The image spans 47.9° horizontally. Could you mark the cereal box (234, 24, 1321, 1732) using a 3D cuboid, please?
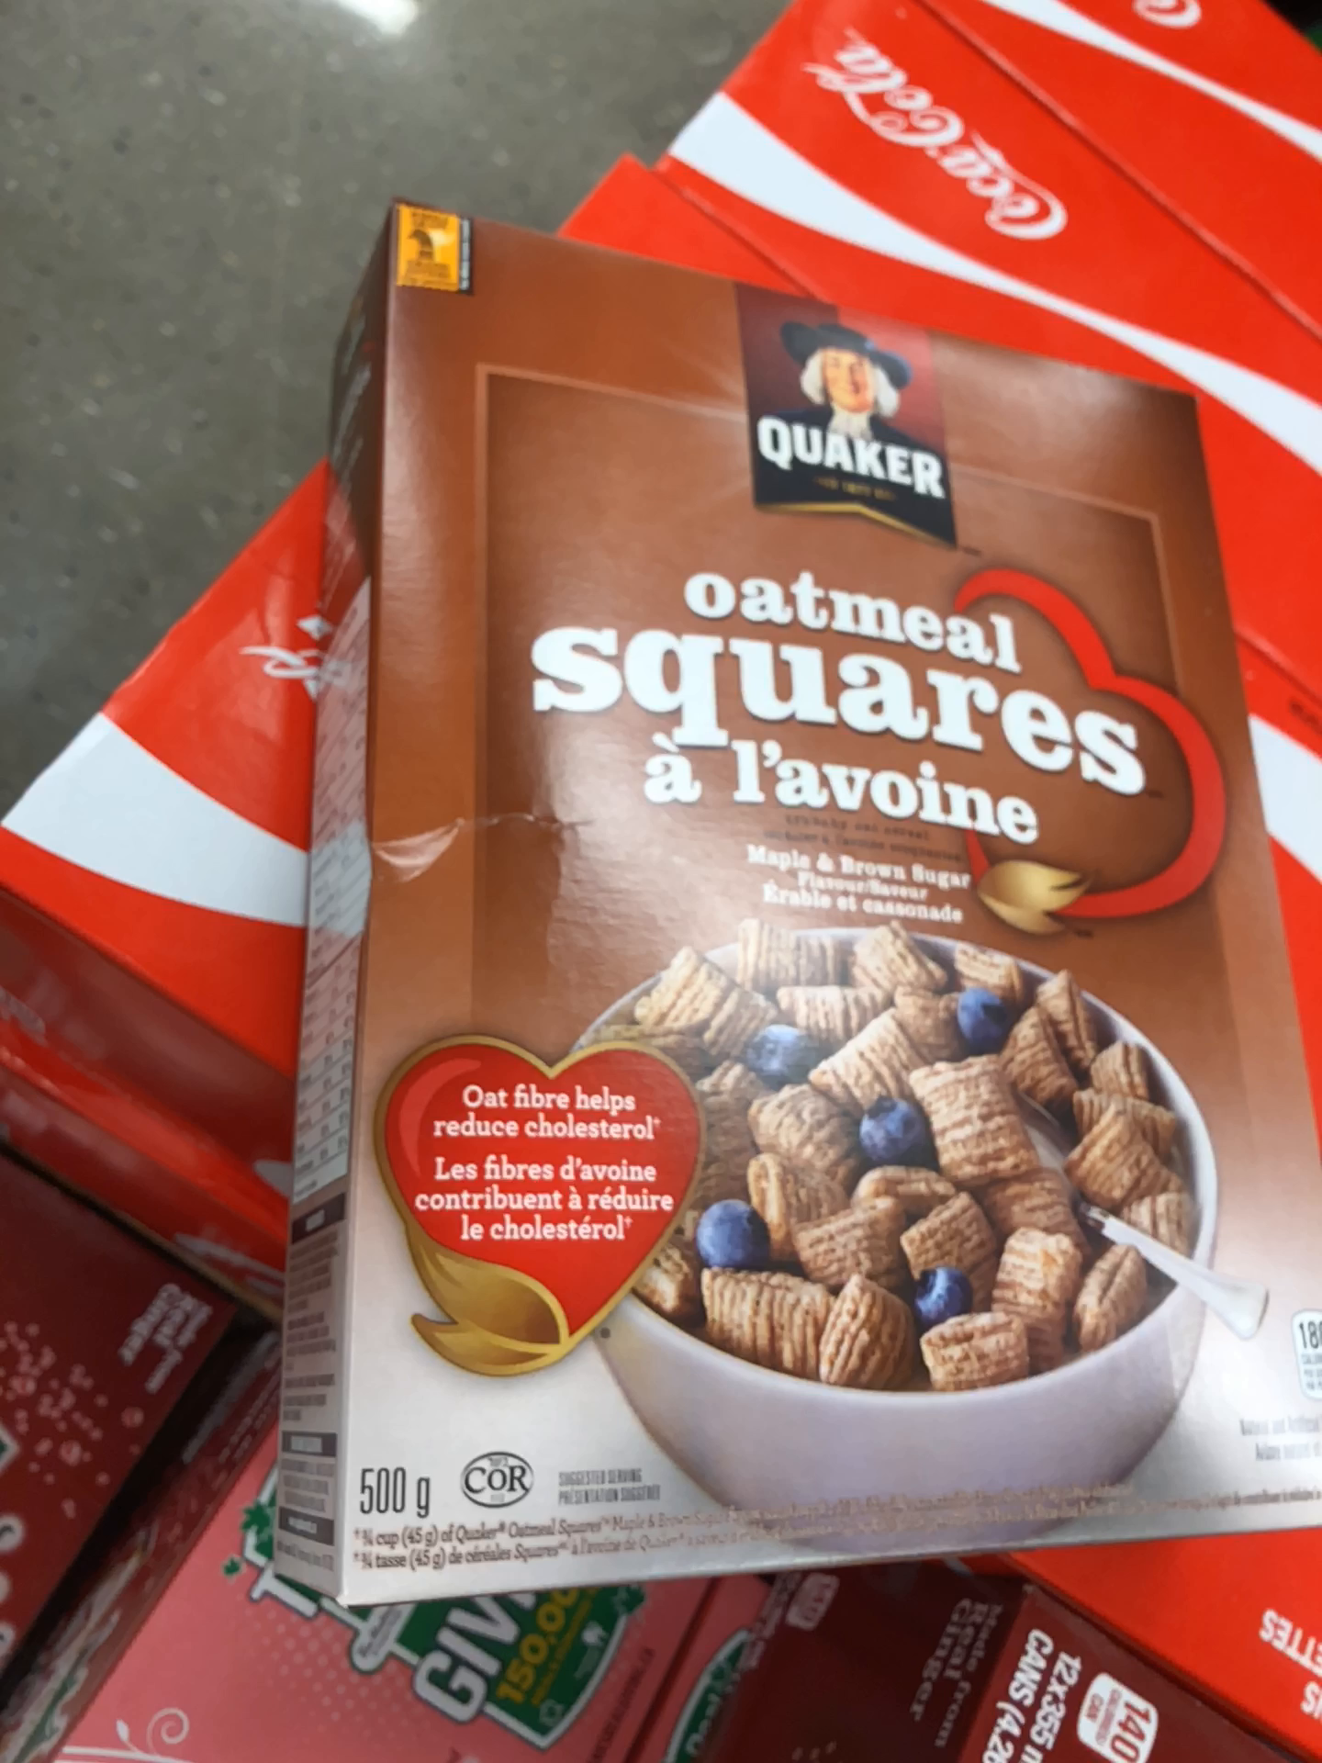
[{"bbox_3d":[0.049,-0.008,0.305,0.241,0.050,0.290,6,70,-21],"label":"cereal box"}]
